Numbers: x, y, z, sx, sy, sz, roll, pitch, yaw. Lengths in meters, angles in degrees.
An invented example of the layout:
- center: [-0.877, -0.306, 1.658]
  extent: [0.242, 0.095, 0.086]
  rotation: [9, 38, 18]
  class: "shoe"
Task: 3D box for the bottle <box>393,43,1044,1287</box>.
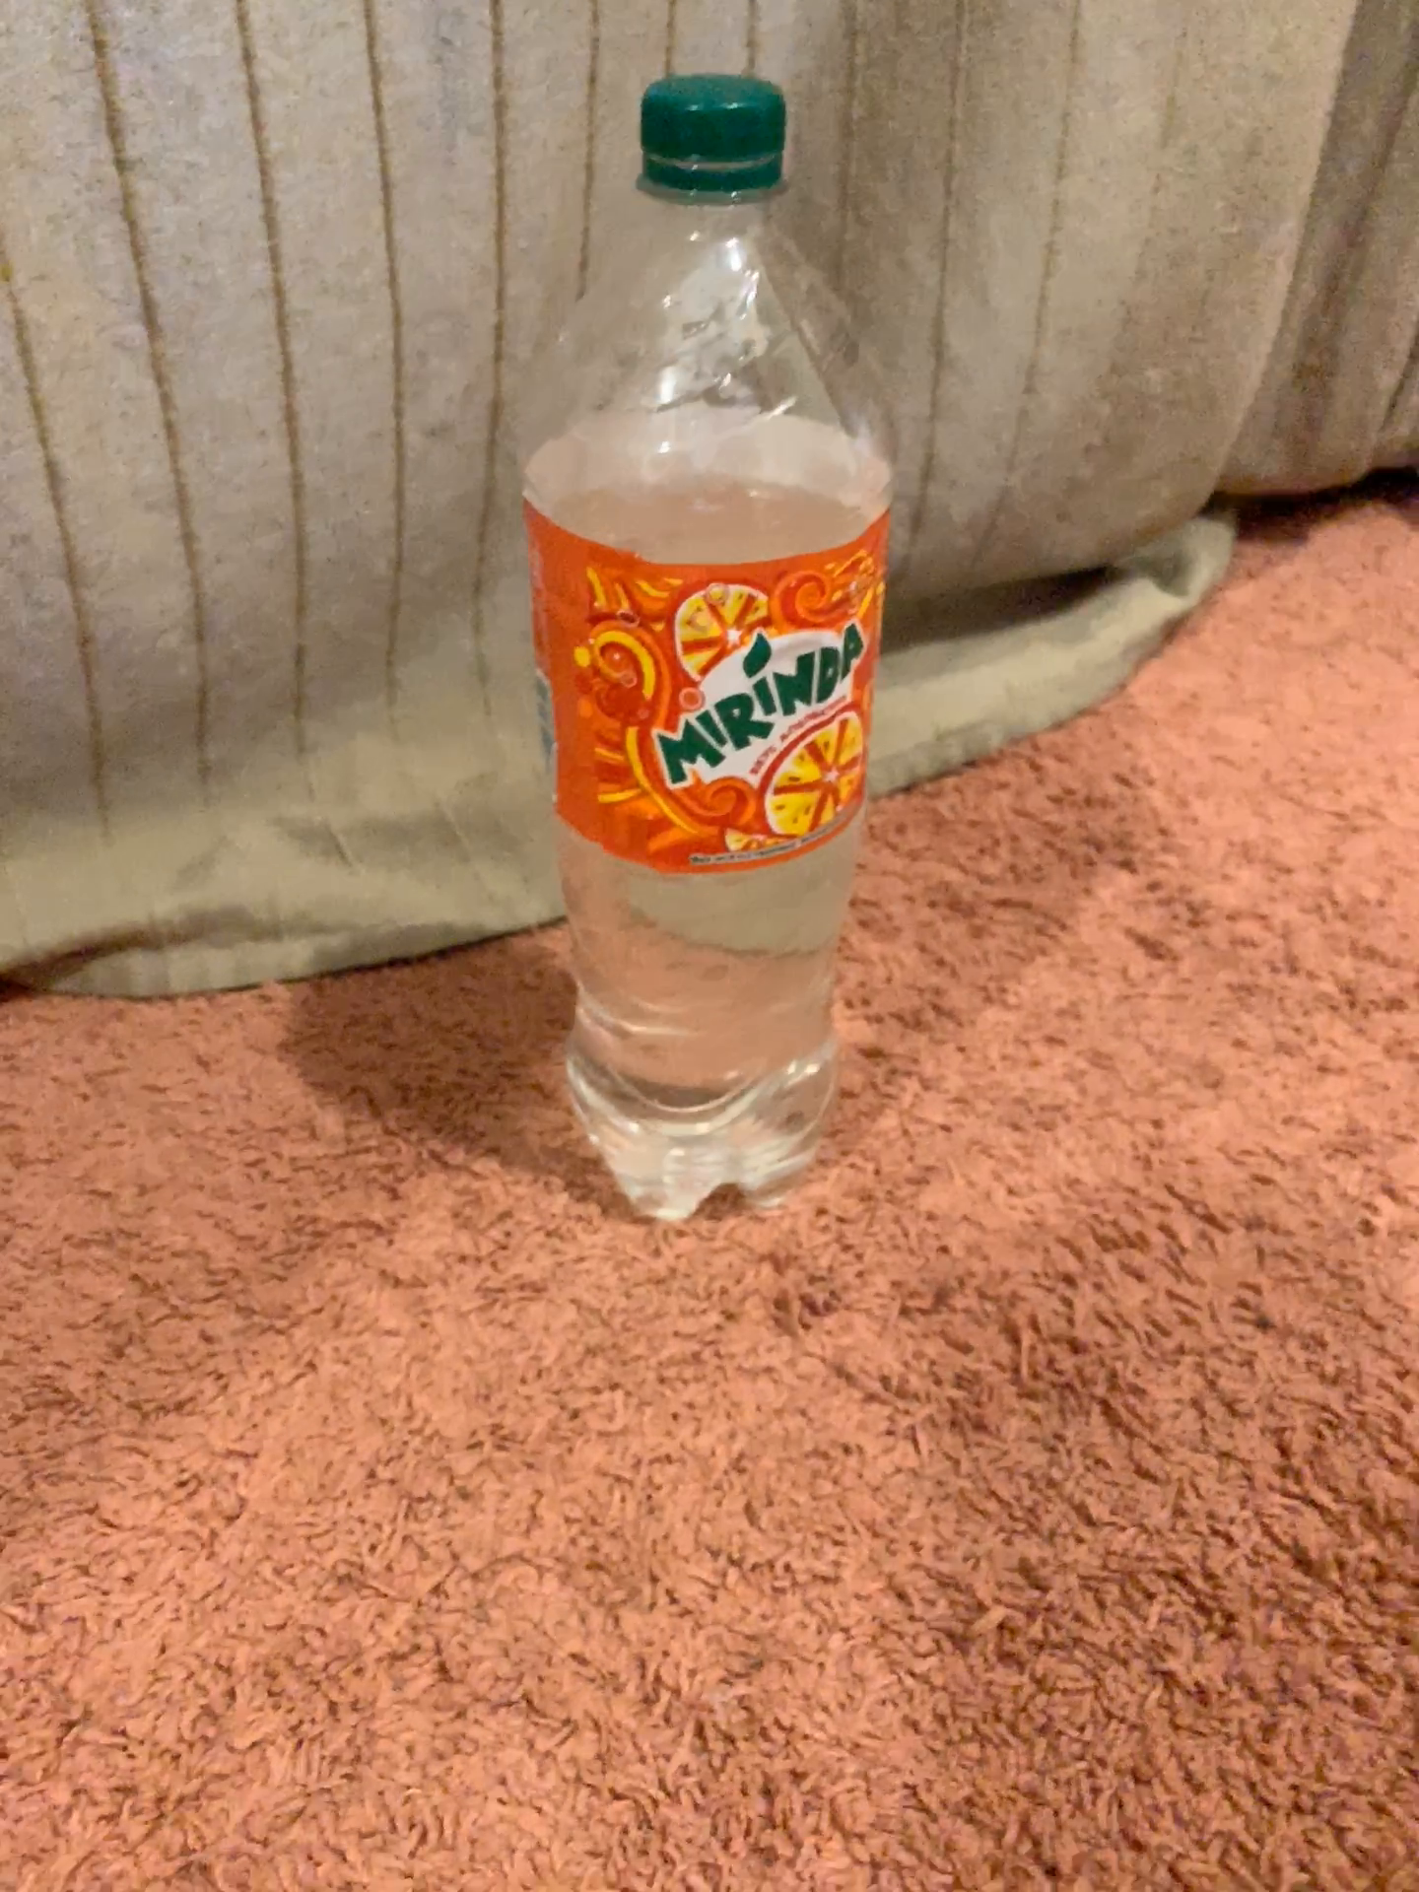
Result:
- center: [-0.004, -0.058, 0.392]
  extent: [0.100, 0.297, 0.101]
  rotation: [0, 38, 0]
  class: "bottle"
